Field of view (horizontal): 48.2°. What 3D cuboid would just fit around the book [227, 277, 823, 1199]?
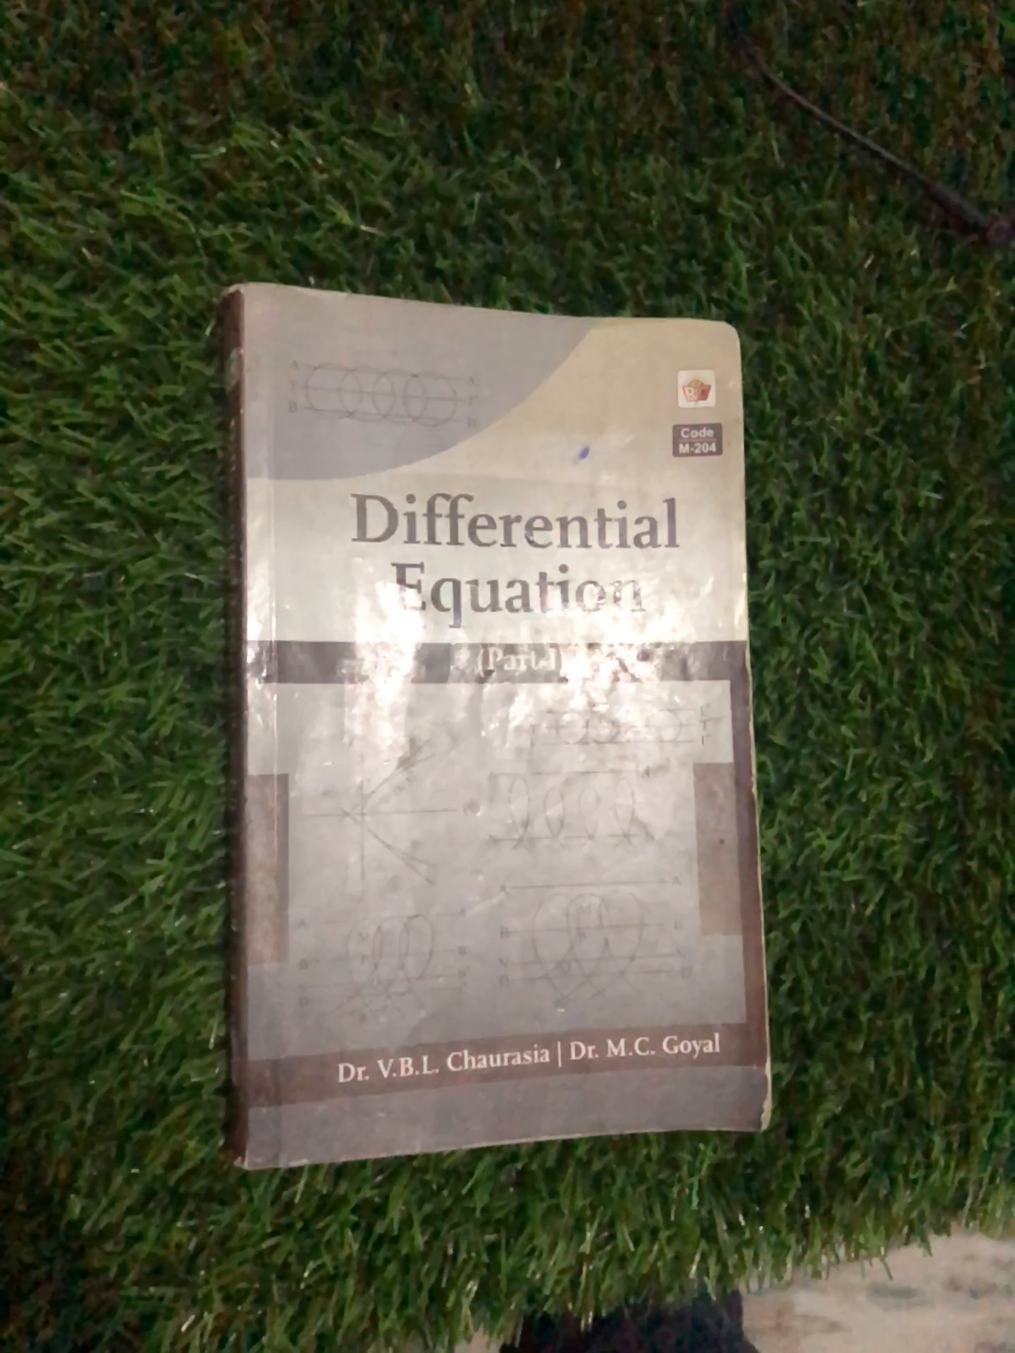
[{"bbox_3d":[0.003,0.011,0.281,0.140,0.030,0.200,0,84,-17],"label":"book"}]
